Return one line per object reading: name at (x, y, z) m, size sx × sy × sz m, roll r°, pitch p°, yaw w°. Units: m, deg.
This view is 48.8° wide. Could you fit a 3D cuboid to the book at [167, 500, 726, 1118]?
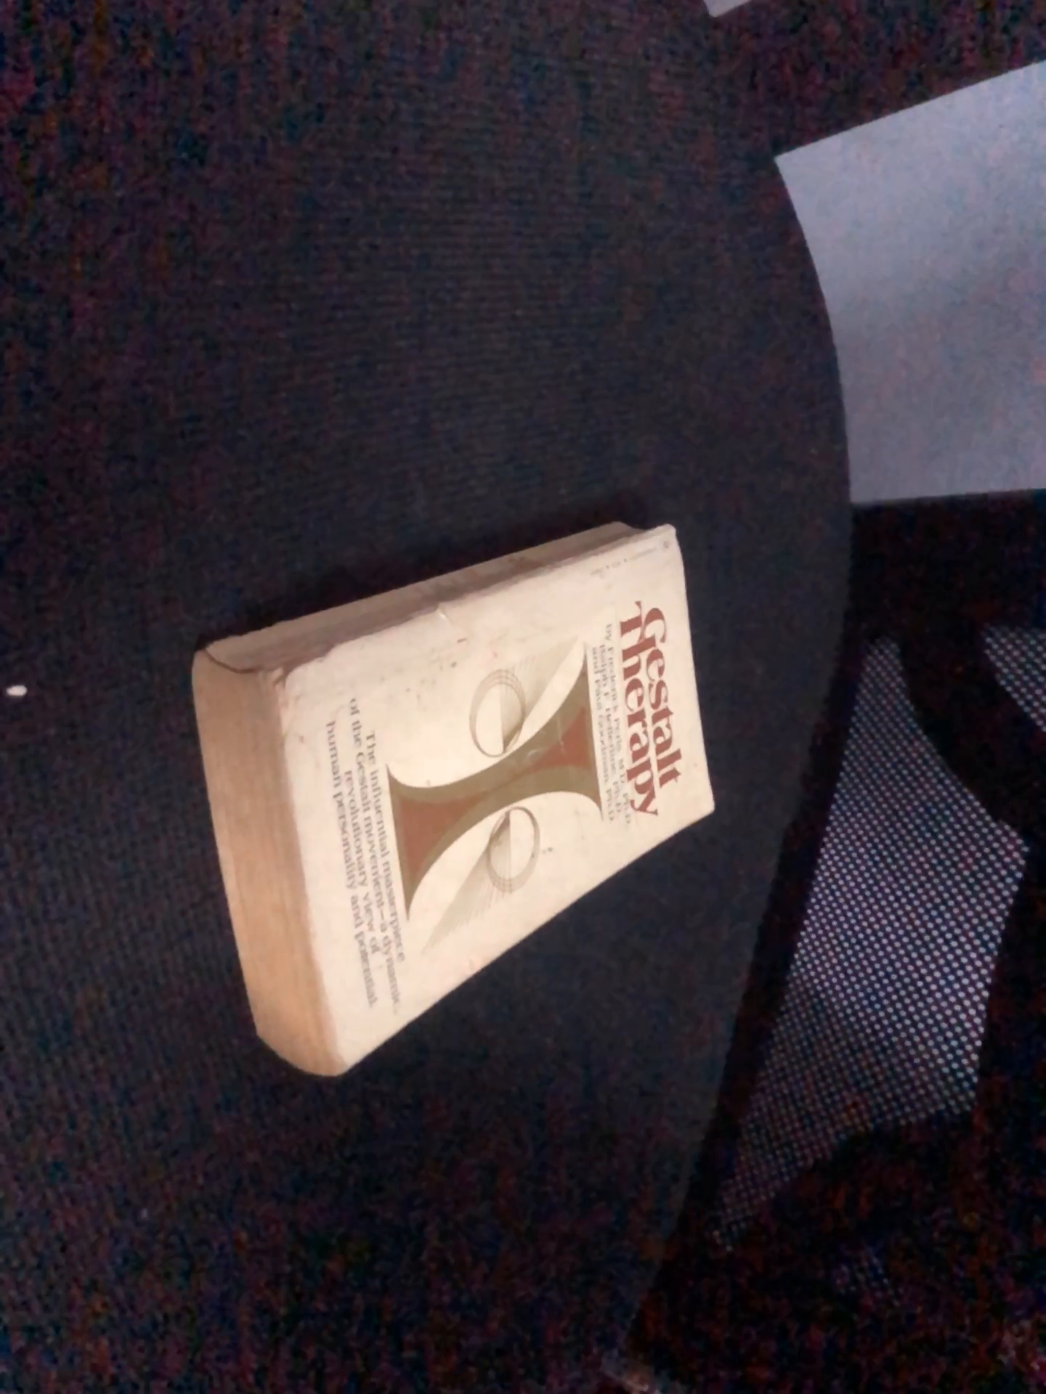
book at (-0.005, 0.017, 0.342) m, size 0.184 × 0.034 × 0.120 m, roll -25°, pitch 112°, yaw -48°
